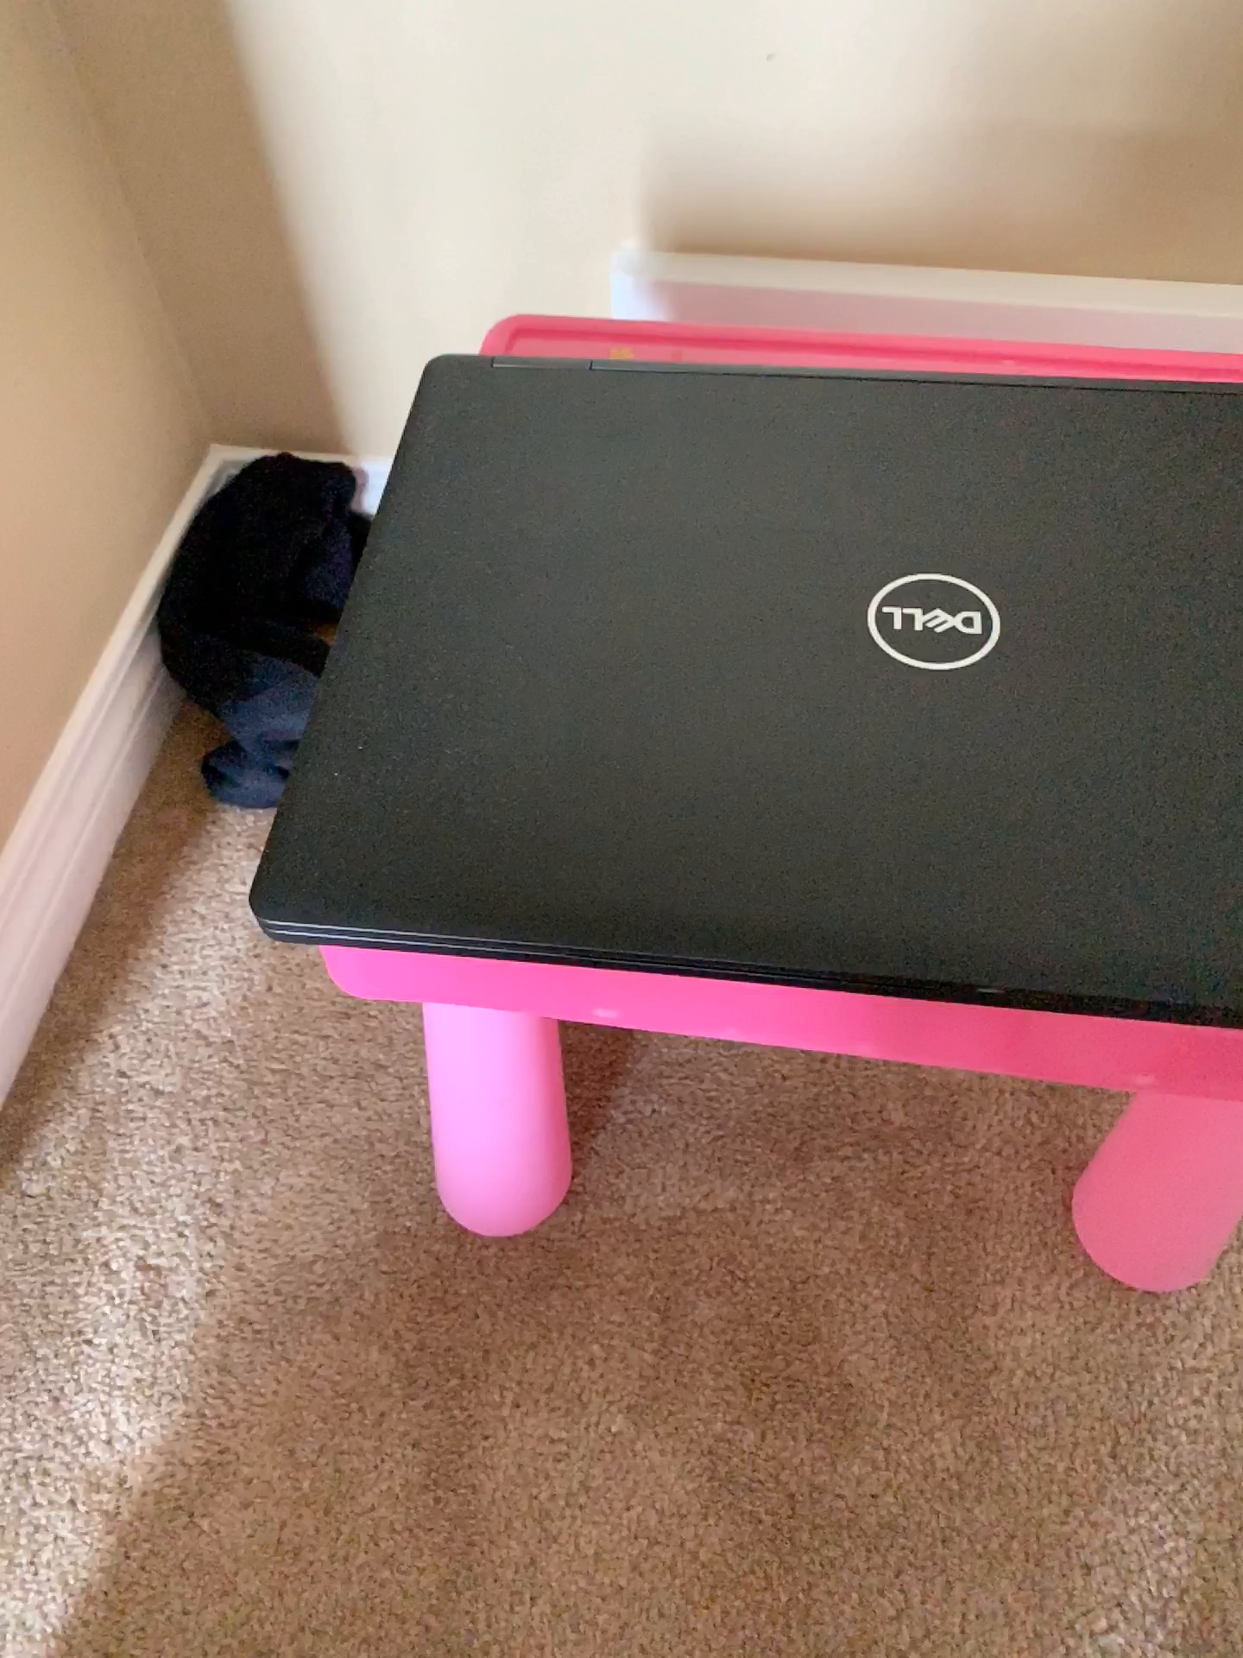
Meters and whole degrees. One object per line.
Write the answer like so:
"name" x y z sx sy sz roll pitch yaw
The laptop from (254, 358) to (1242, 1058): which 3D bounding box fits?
"laptop" 0.096 -0.061 0.394 0.366 0.005 0.241 4 57 7
